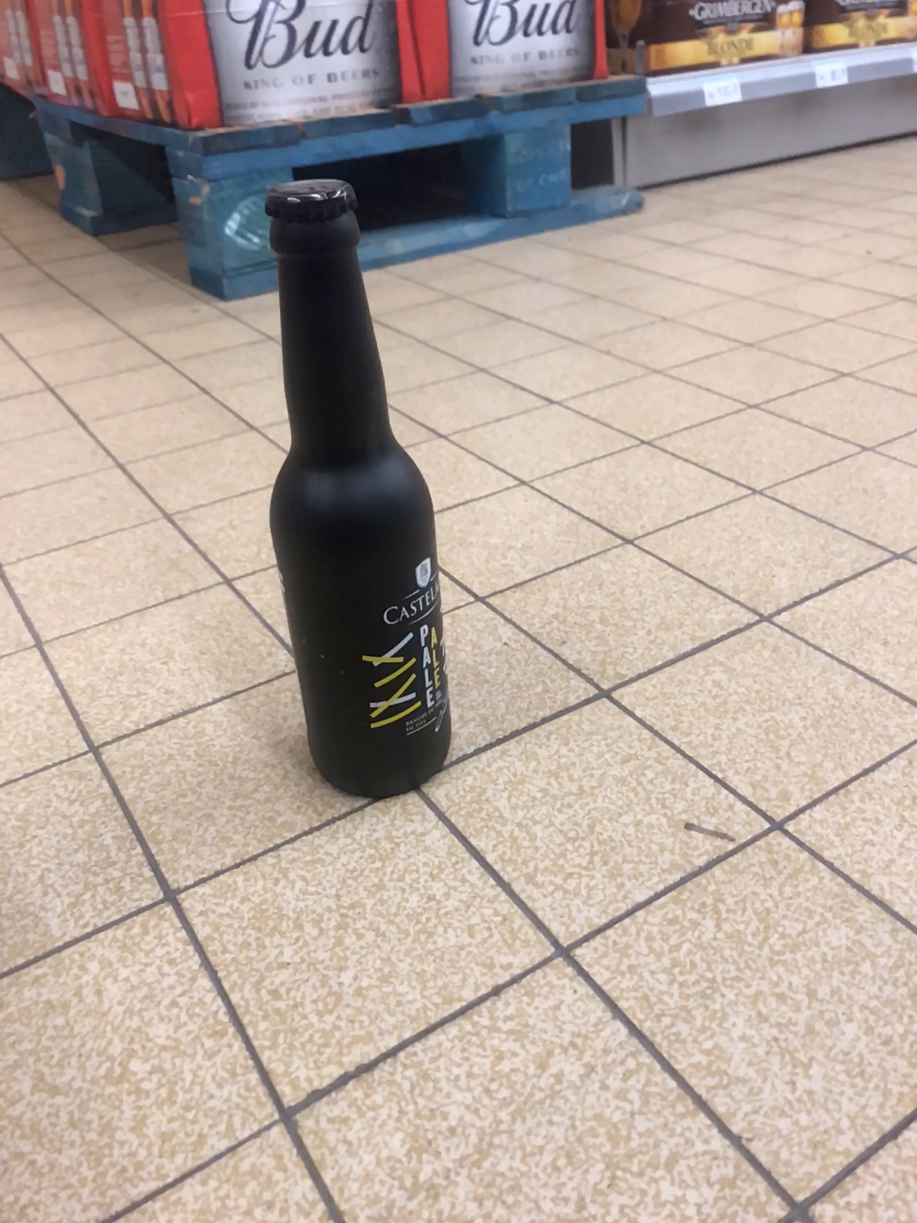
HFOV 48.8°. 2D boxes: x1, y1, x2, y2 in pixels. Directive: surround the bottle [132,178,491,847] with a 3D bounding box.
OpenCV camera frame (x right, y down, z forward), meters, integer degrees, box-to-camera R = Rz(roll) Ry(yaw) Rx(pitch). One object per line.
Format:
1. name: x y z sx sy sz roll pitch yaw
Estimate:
1. bottle: -0.040 -0.030 0.358 0.070 0.219 0.070 -3 31 2
